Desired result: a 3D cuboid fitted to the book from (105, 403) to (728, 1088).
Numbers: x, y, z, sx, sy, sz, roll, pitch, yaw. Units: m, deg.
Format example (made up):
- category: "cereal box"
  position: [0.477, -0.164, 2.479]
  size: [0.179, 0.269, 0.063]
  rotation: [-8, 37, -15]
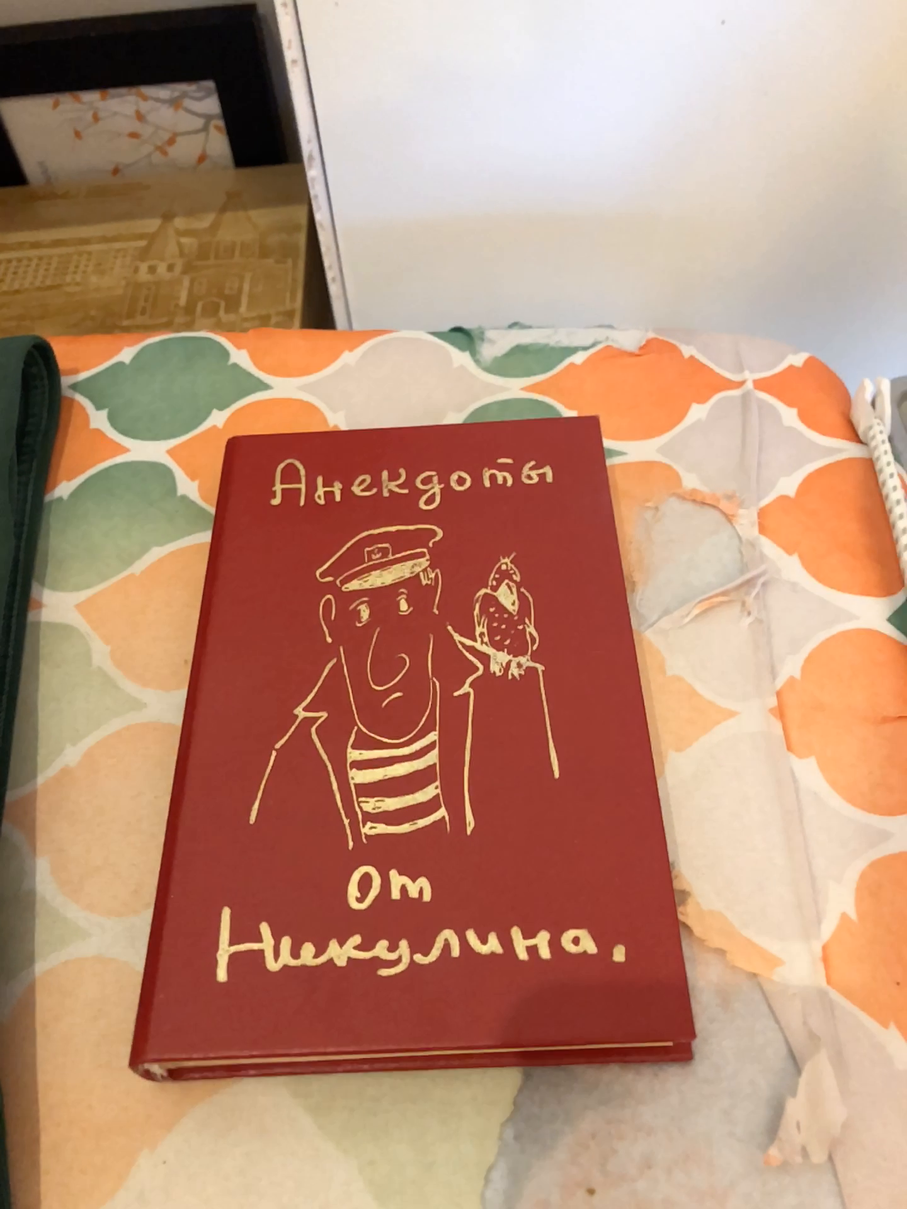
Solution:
- category: "book"
  position: [-0.011, 0.025, 0.300]
  size: [0.140, 0.030, 0.208]
  rotation: [-3, 53, 2]
